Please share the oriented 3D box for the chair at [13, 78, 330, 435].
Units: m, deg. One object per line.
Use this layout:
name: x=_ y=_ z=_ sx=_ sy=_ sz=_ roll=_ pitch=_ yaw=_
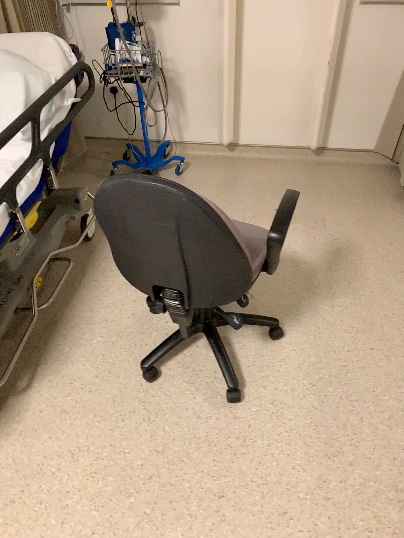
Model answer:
chair: x=-0.013 y=-0.070 z=1.437 sx=0.651 sy=0.881 sz=0.716 roll=13 pitch=43 yaw=17
